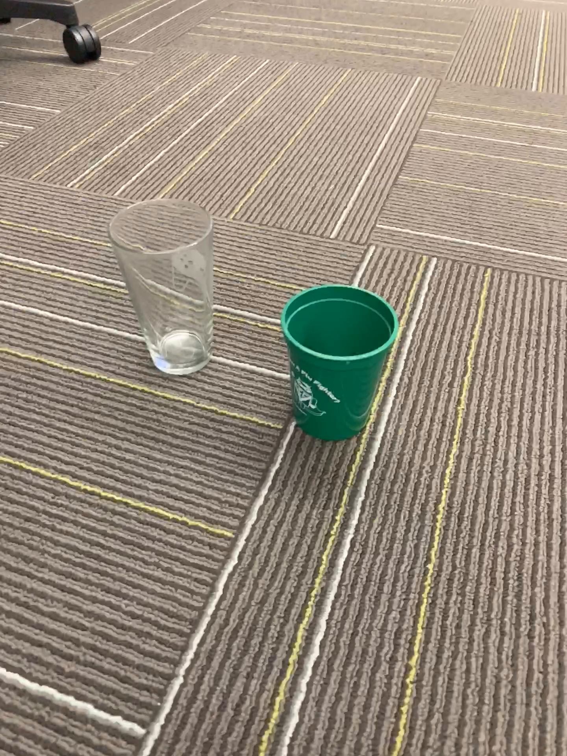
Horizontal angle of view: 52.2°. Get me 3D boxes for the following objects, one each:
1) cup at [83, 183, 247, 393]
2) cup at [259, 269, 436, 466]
[{"bbox_3d":[-0.100,-0.081,0.525,0.090,0.139,0.090,0,45,0],"label":"cup"},{"bbox_3d":[0.049,-0.011,0.495,0.100,0.099,0.100,0,45,0],"label":"cup"}]
